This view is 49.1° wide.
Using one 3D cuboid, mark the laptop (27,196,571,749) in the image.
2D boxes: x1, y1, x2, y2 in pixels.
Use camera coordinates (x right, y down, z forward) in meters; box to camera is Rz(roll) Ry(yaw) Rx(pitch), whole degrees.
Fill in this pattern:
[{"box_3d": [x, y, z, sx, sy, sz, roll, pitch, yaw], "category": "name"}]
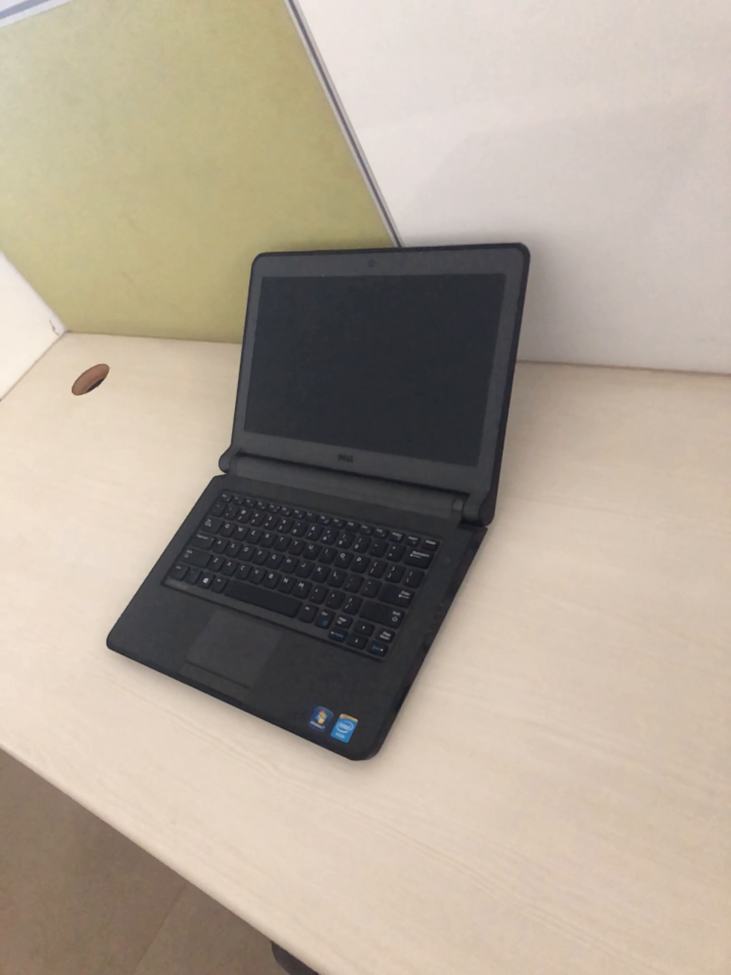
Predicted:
[{"box_3d": [-0.052, -0.048, 0.705, 0.318, 0.122, 0.416, 11, 63, 37], "category": "laptop"}]
